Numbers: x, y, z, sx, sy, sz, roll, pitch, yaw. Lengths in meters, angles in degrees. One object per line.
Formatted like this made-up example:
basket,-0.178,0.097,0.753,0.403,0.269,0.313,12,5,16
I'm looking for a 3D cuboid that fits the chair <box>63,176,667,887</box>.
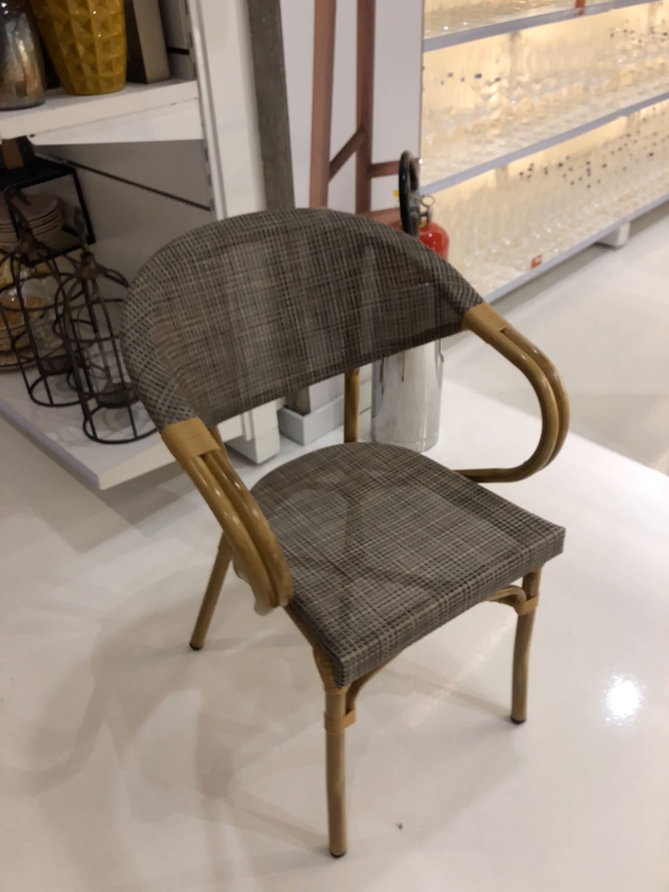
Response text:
chair,0.023,0.092,1.156,0.521,0.784,0.573,-24,40,-26
